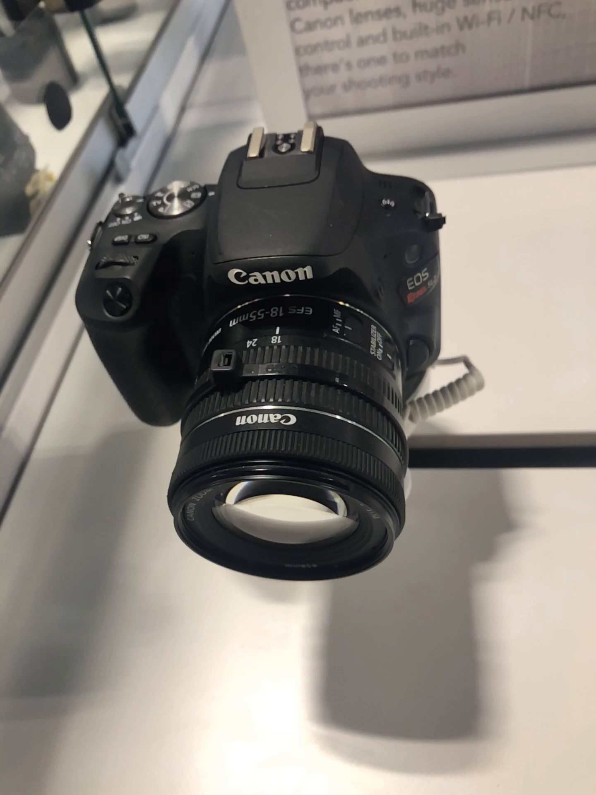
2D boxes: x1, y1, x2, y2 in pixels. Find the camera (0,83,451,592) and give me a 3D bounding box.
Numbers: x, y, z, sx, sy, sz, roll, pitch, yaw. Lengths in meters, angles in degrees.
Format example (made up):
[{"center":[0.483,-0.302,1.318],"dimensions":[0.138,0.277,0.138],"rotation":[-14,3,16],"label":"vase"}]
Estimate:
[{"center":[-0.018,-0.014,0.210],"dimensions":[0.122,0.099,0.110],"rotation":[-2,51,13],"label":"camera"}]
